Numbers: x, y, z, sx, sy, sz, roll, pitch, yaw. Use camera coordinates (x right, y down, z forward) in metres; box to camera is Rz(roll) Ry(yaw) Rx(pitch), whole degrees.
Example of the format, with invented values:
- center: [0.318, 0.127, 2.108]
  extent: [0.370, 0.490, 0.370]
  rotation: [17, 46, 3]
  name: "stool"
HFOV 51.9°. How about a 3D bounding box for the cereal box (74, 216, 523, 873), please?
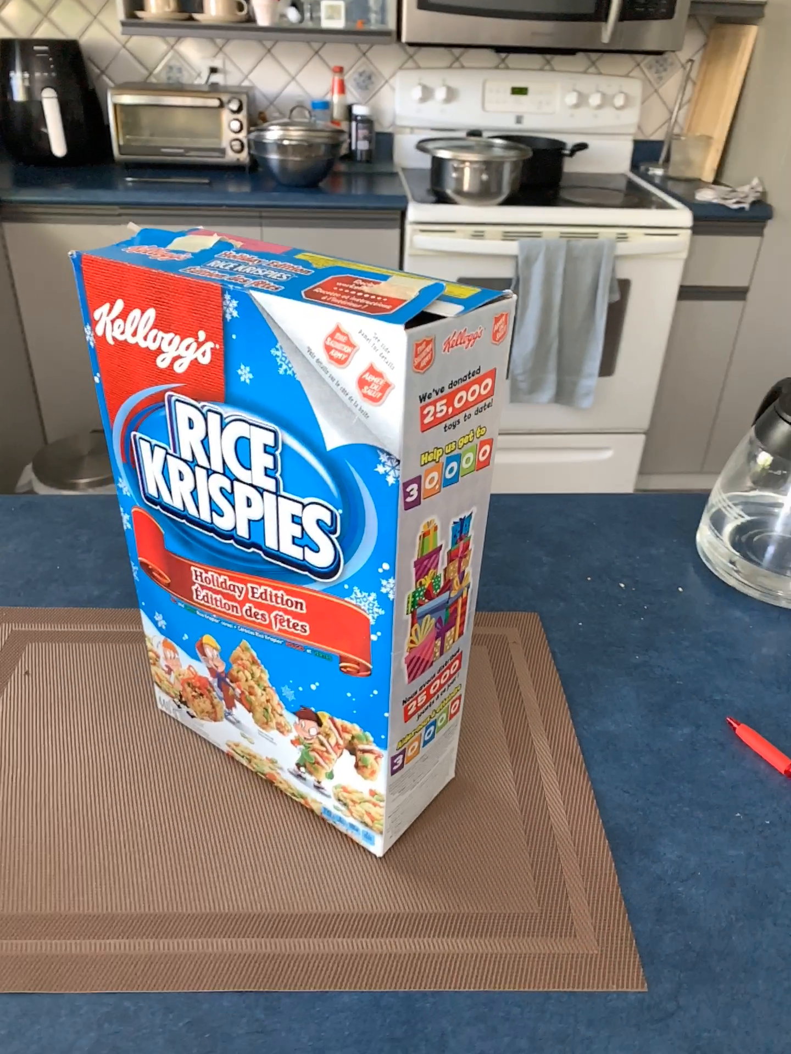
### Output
- center: [-0.062, 0.010, 0.479]
  extent: [0.221, 0.327, 0.080]
  rotation: [22, 35, 29]
  name: "cereal box"
